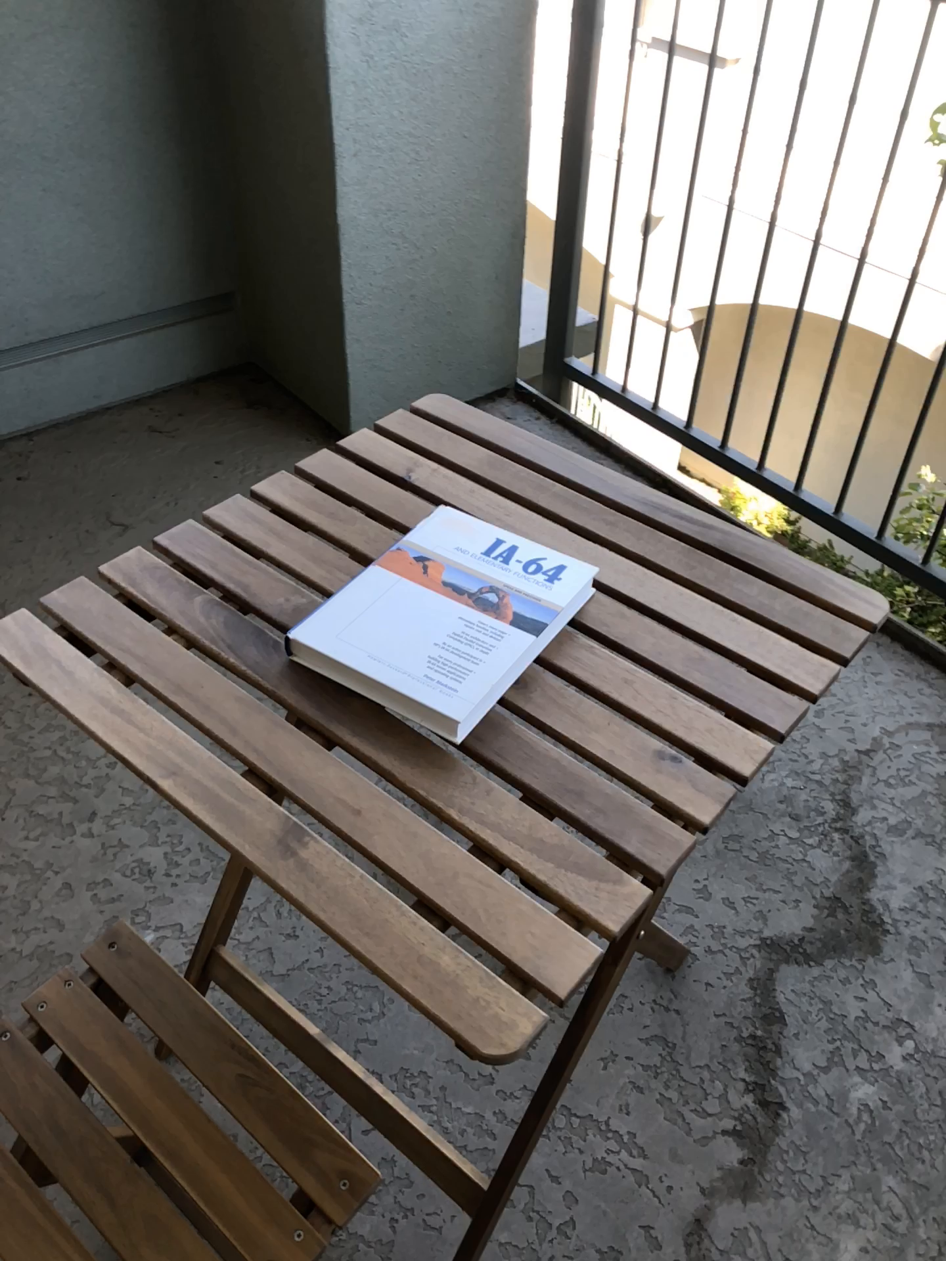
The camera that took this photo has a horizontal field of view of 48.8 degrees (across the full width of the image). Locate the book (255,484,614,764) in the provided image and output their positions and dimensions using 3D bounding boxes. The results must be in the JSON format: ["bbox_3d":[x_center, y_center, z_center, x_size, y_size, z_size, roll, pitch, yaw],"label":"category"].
[{"bbox_3d":[-0.027,-0.020,0.908,0.200,0.040,0.251,25,47,23],"label":"book"}]
